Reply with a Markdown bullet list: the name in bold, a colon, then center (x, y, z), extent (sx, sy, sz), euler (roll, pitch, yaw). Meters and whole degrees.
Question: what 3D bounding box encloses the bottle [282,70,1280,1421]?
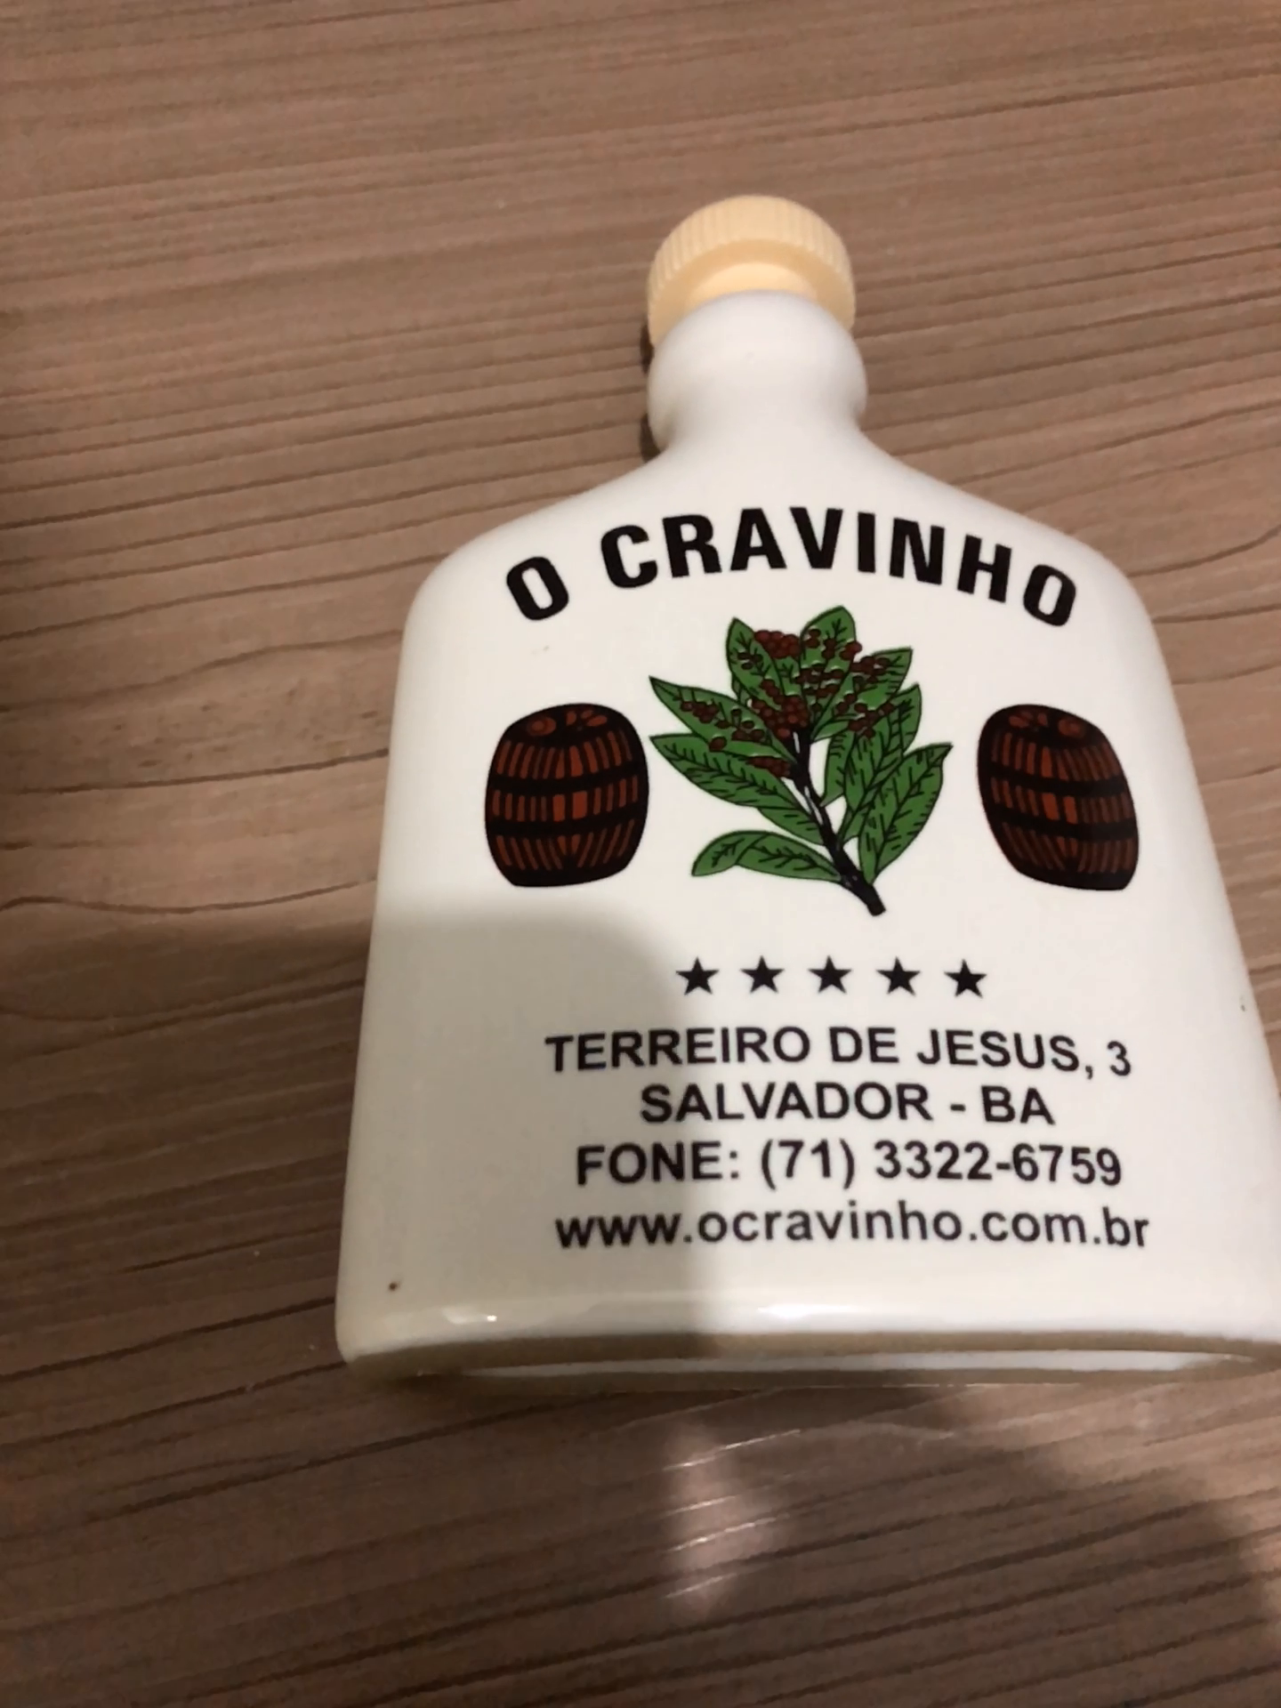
- **bottle**: center (0.019, -0.022, 0.171), extent (0.100, 0.040, 0.160), euler (-1, 63, -1)
